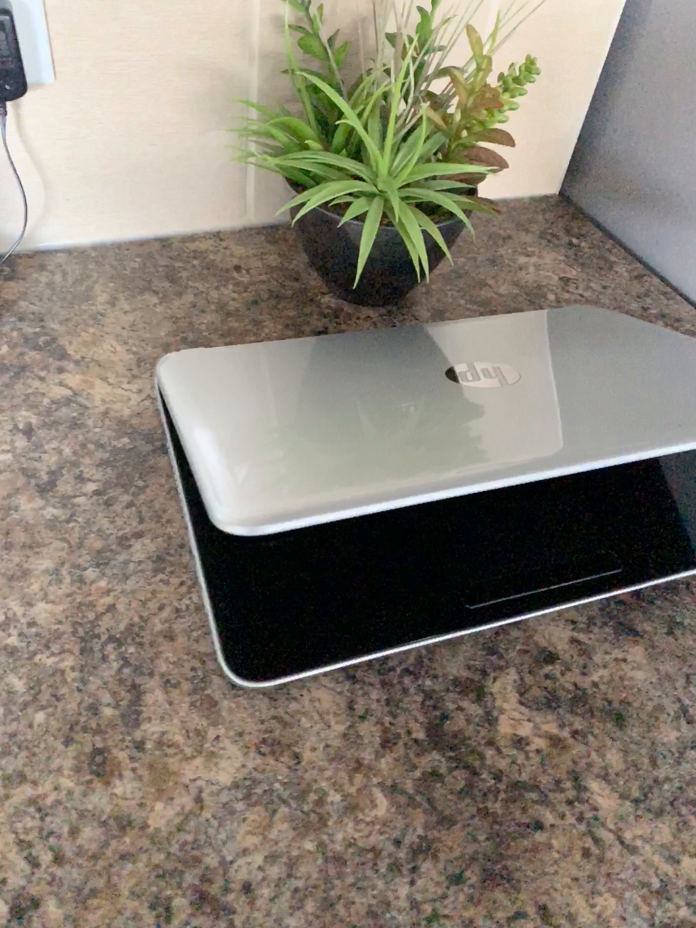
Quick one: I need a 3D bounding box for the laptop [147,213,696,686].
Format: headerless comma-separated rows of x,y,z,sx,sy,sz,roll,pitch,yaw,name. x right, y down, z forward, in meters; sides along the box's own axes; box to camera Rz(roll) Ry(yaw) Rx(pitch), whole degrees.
0.075,-0.036,0.396,0.329,0.081,0.207,-10,51,-18,laptop
